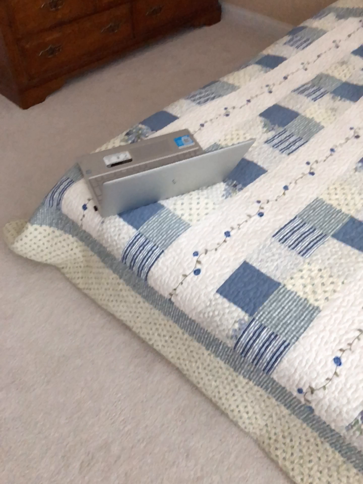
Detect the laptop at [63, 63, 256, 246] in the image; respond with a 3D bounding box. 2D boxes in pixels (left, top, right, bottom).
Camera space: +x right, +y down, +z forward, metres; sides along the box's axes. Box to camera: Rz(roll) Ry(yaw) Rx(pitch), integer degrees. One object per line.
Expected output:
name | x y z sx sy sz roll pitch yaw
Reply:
laptop | -0.068 -0.242 1.037 0.355 0.208 0.359 -18 54 -15
